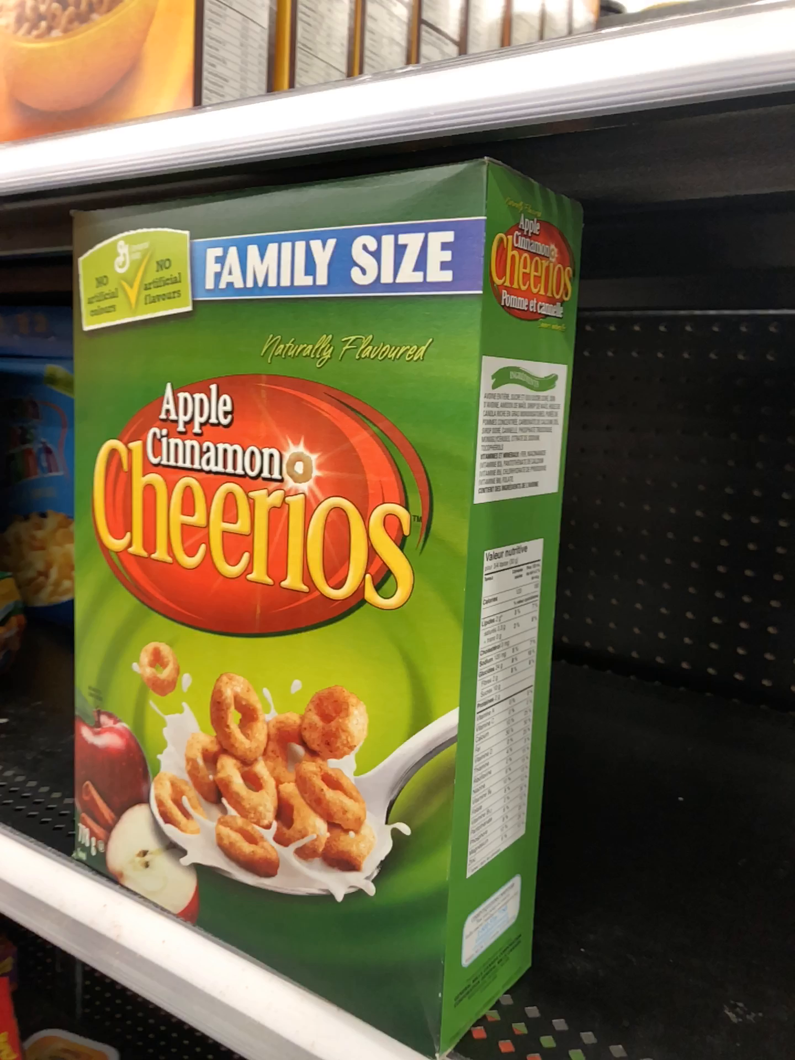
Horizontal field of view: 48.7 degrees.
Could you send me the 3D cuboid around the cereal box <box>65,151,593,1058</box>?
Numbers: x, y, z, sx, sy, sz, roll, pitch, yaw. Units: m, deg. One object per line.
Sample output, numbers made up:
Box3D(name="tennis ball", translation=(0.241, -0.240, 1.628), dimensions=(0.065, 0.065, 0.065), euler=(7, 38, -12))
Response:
Box3D(name="cereal box", translation=(-0.049, 0.019, 0.414), dimensions=(0.240, 0.329, 0.080), euler=(8, 9, 35))
